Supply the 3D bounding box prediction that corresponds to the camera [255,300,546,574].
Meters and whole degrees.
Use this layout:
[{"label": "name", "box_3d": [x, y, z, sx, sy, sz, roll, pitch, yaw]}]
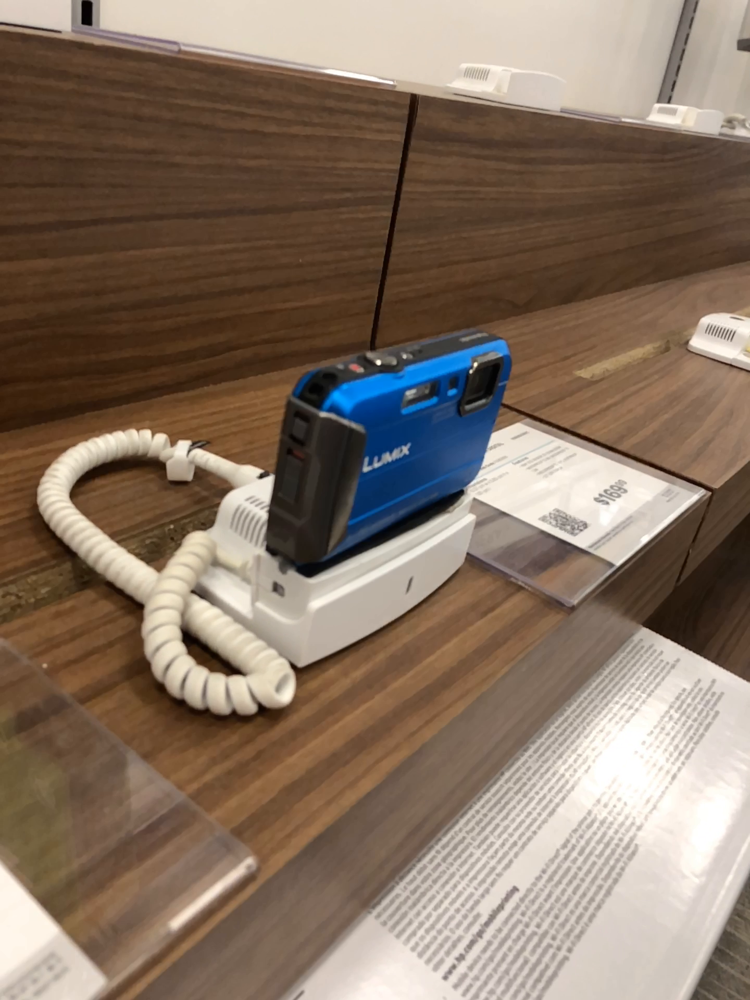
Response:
[{"label": "camera", "box_3d": [0.012, -0.025, 0.262, 0.020, 0.060, 0.110, 29, 32, 27]}]
